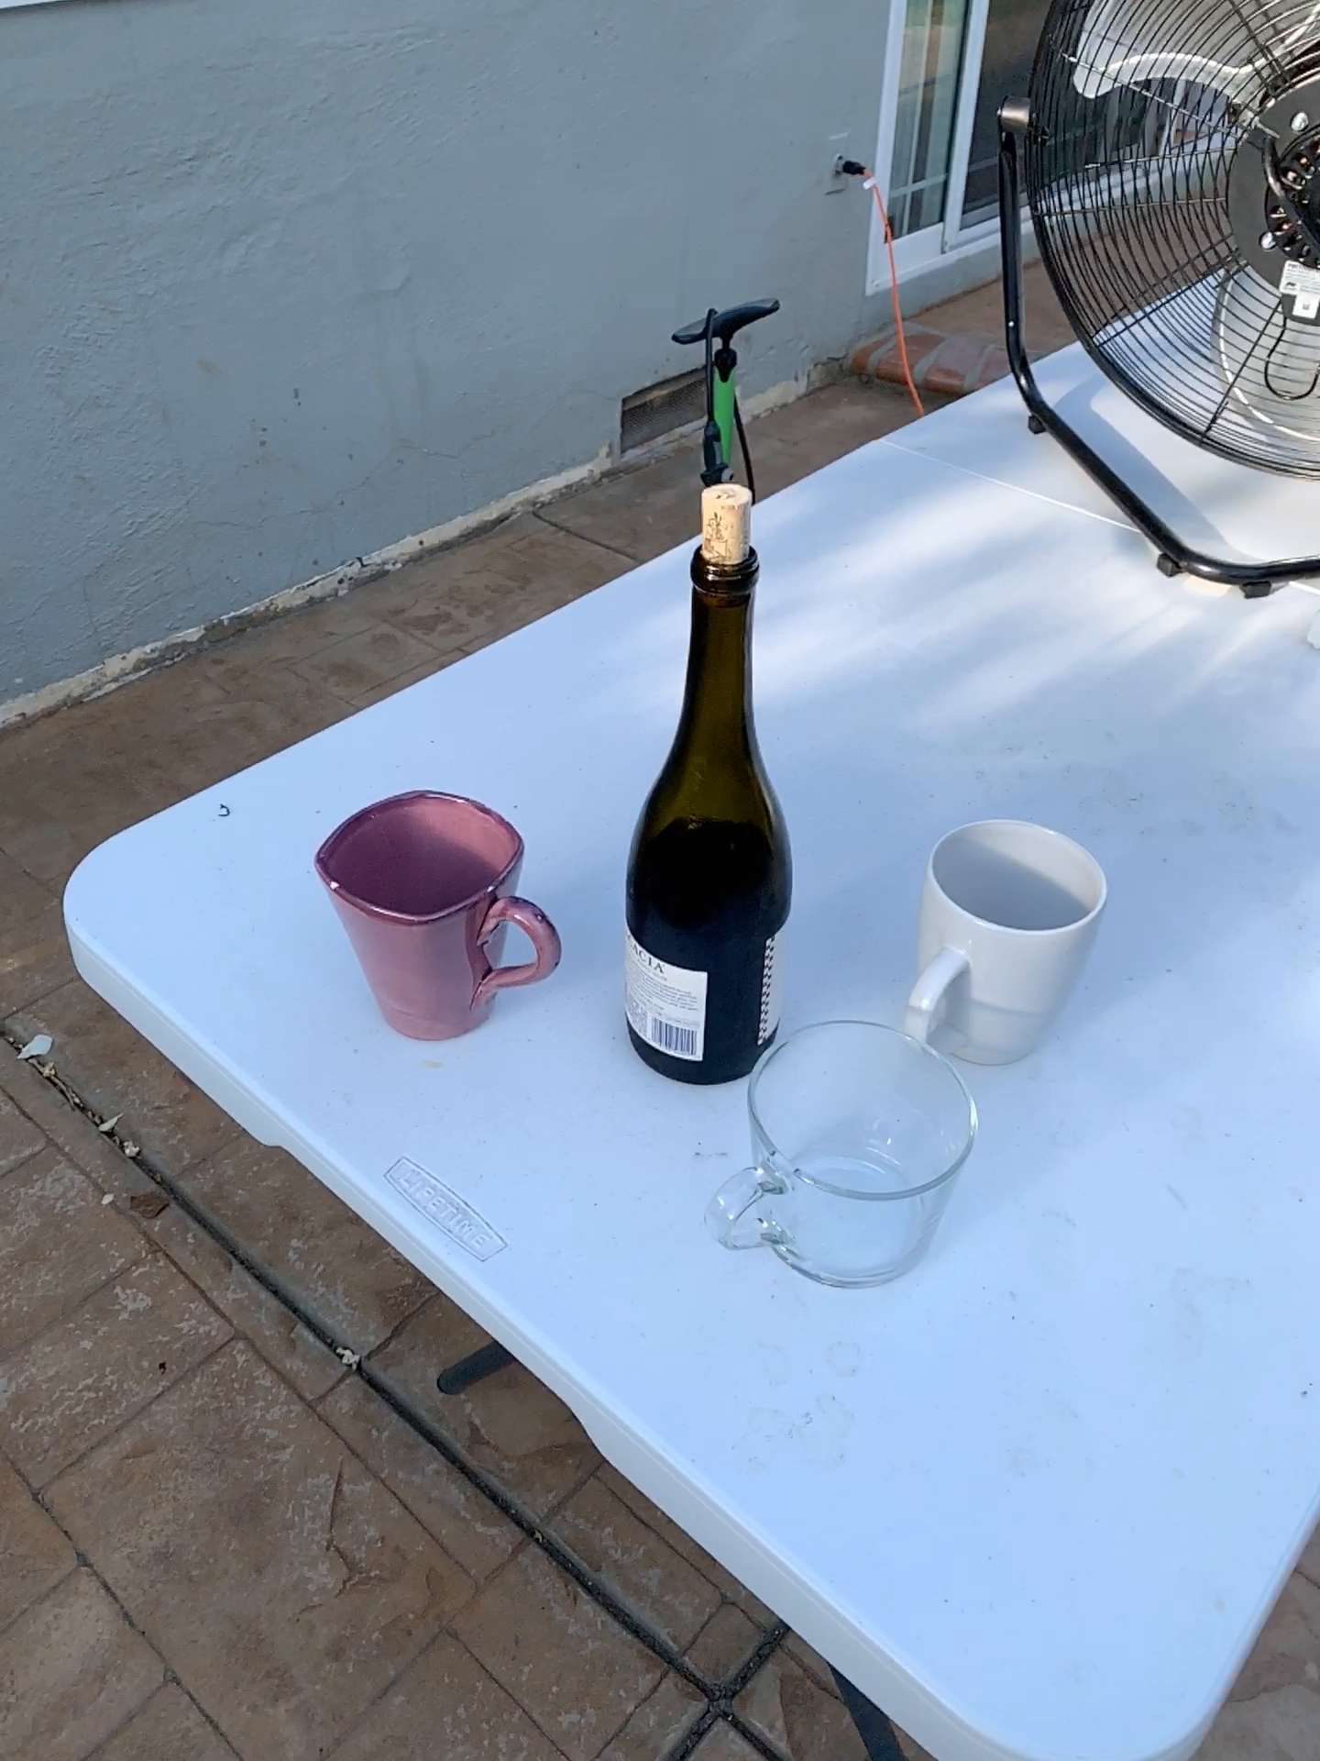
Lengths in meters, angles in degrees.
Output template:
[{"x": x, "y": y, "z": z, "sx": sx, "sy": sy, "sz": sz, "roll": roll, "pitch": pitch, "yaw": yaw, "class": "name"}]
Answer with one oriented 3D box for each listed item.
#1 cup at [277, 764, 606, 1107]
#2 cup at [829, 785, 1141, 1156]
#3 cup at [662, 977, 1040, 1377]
[{"x": -0.112, "y": 0.025, "z": 0.715, "sx": 0.130, "sy": 0.099, "sz": 0.100, "roll": 27, "pitch": 47, "yaw": 29, "class": "cup"}, {"x": 0.169, "y": 0.045, "z": 0.714, "sx": 0.090, "sy": 0.119, "sz": 0.130, "roll": 29, "pitch": 48, "yaw": 31, "class": "cup"}, {"x": 0.083, "y": 0.128, "z": 0.608, "sx": 0.130, "sy": 0.080, "sz": 0.100, "roll": -28, "pitch": 47, "yaw": -29, "class": "cup"}]
